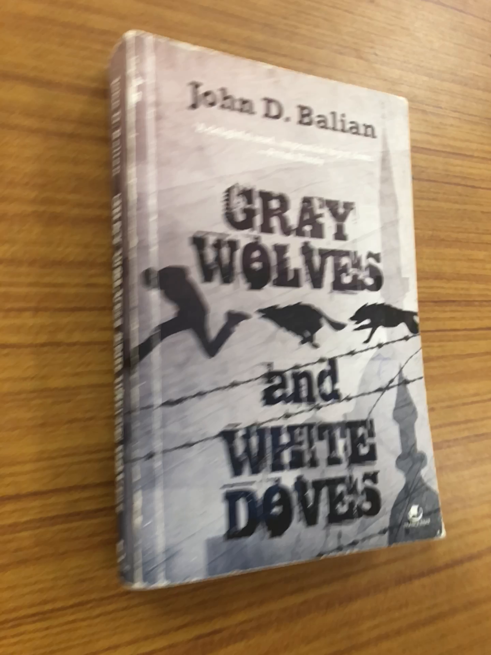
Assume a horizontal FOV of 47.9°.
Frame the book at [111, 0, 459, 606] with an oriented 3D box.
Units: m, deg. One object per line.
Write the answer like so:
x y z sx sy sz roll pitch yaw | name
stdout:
0.016 -0.017 0.220 0.130 0.030 0.210 1 82 -23 | book
